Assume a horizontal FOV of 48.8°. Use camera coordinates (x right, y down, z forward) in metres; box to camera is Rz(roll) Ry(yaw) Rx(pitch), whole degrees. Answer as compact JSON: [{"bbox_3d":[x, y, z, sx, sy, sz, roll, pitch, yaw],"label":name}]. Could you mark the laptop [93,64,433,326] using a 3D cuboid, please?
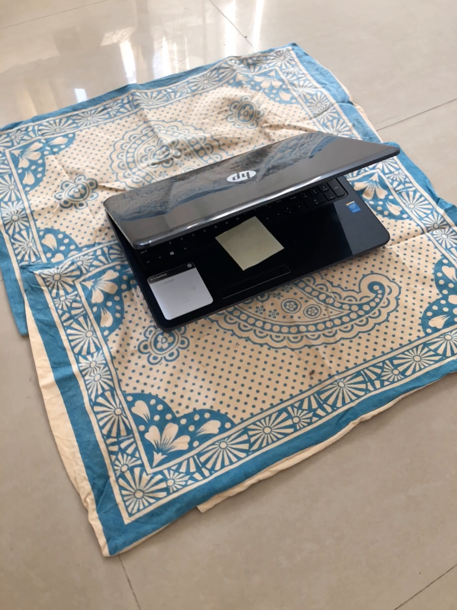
[{"bbox_3d":[0.033,-0.163,0.712,0.363,0.151,0.237,-21,59,-11],"label":"laptop"}]
